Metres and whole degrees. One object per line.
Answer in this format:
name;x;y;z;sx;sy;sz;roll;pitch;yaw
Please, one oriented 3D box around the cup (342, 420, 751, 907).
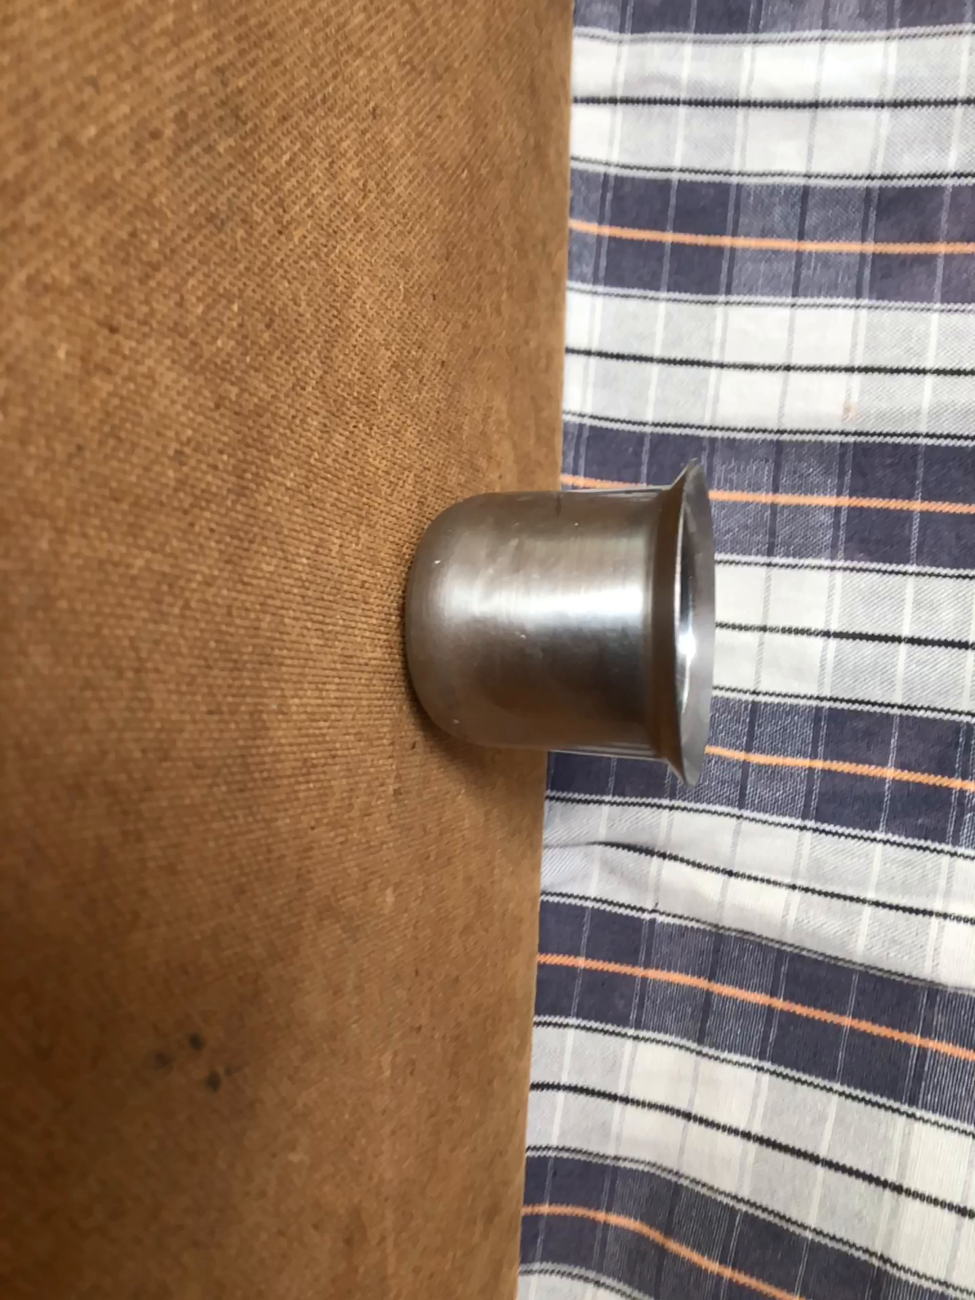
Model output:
cup;0.019;0.004;0.222;0.070;0.060;0.070;2;90;-72
